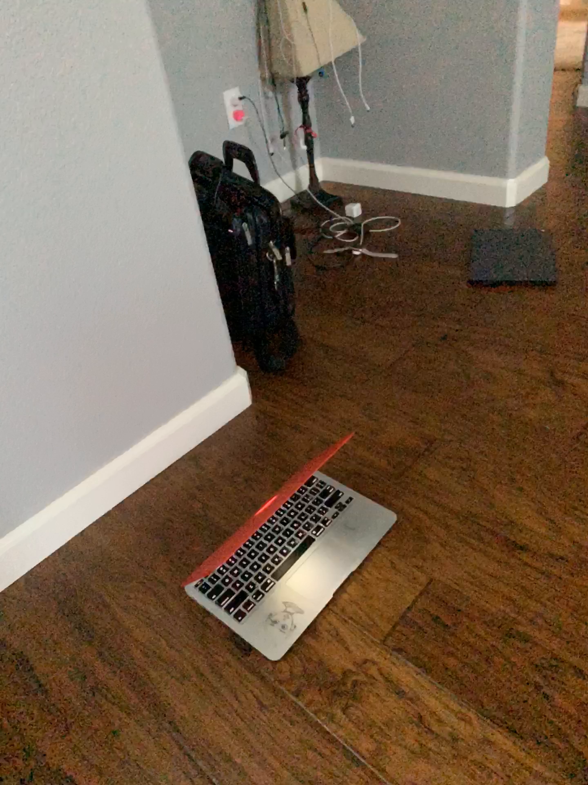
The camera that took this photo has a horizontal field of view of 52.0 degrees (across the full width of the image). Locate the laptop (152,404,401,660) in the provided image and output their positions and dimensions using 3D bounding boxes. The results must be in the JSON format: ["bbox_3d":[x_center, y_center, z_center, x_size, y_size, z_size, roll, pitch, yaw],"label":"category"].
[{"bbox_3d":[-0.010,0.182,0.884,0.198,0.139,0.302,22,45,35],"label":"laptop"}]
